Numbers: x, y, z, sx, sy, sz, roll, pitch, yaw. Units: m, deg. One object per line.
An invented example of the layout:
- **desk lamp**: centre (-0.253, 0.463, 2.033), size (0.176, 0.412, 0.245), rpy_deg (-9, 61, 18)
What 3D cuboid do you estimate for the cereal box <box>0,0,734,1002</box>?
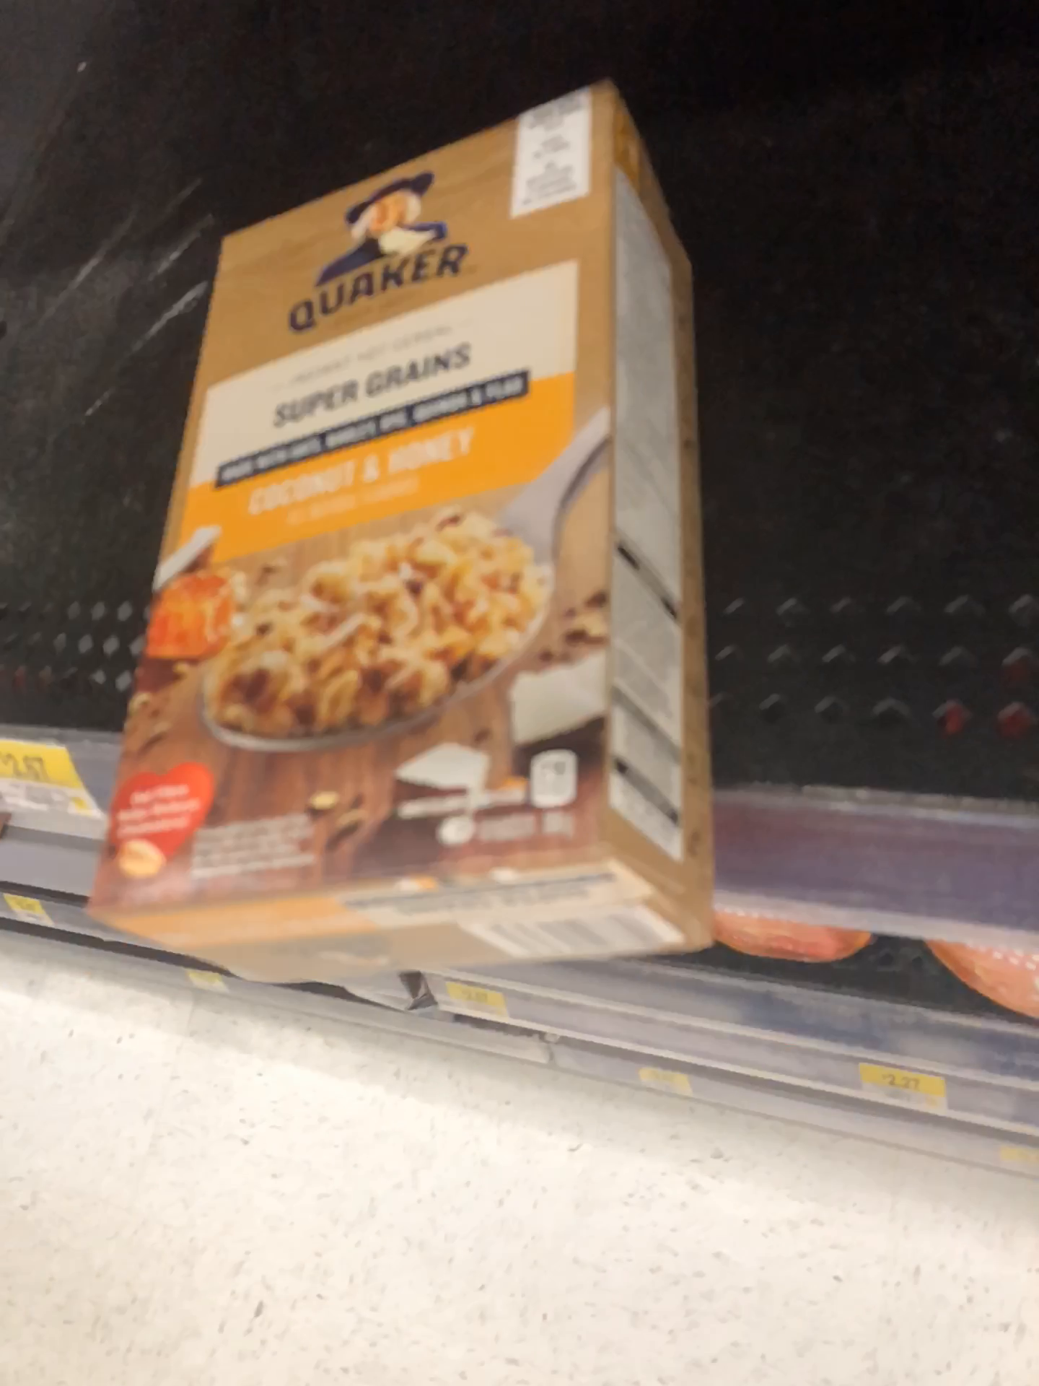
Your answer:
- **cereal box**: centre (-0.030, -0.051, 0.285), size (0.141, 0.060, 0.230), rpy_deg (-12, 58, 24)
